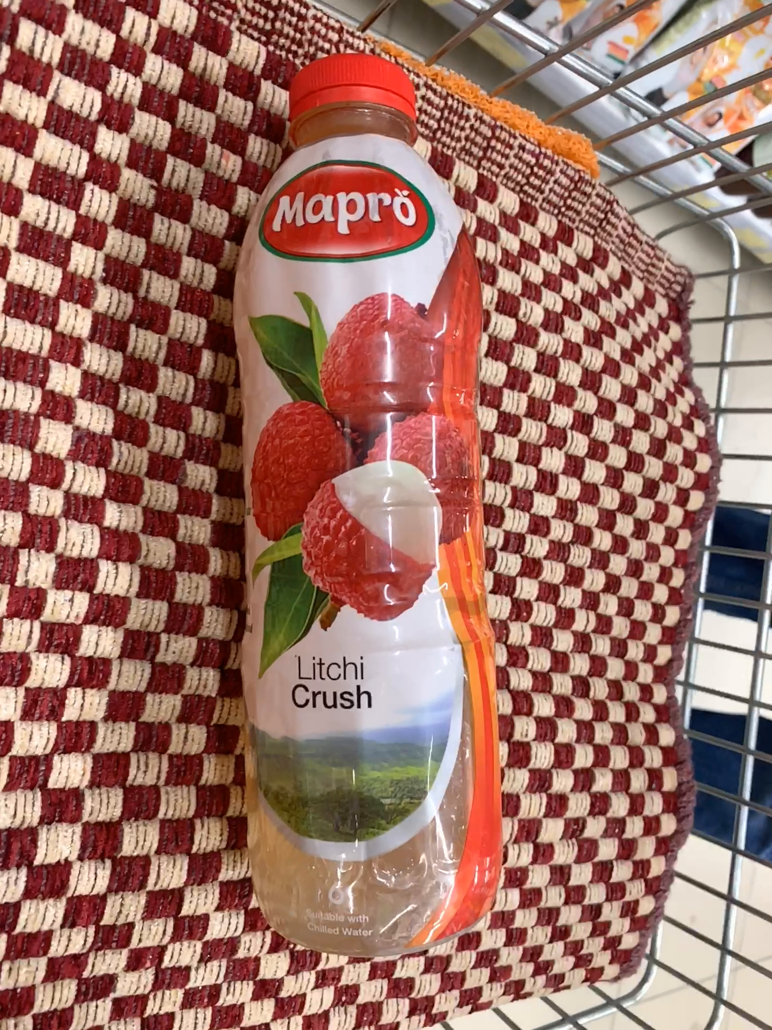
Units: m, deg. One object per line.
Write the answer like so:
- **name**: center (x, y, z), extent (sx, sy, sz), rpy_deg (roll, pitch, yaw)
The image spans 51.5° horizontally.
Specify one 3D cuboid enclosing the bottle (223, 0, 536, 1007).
- **bottle**: center (0.004, -0.006, 0.232), extent (0.080, 0.070, 0.240), rpy_deg (-4, 94, -76)
